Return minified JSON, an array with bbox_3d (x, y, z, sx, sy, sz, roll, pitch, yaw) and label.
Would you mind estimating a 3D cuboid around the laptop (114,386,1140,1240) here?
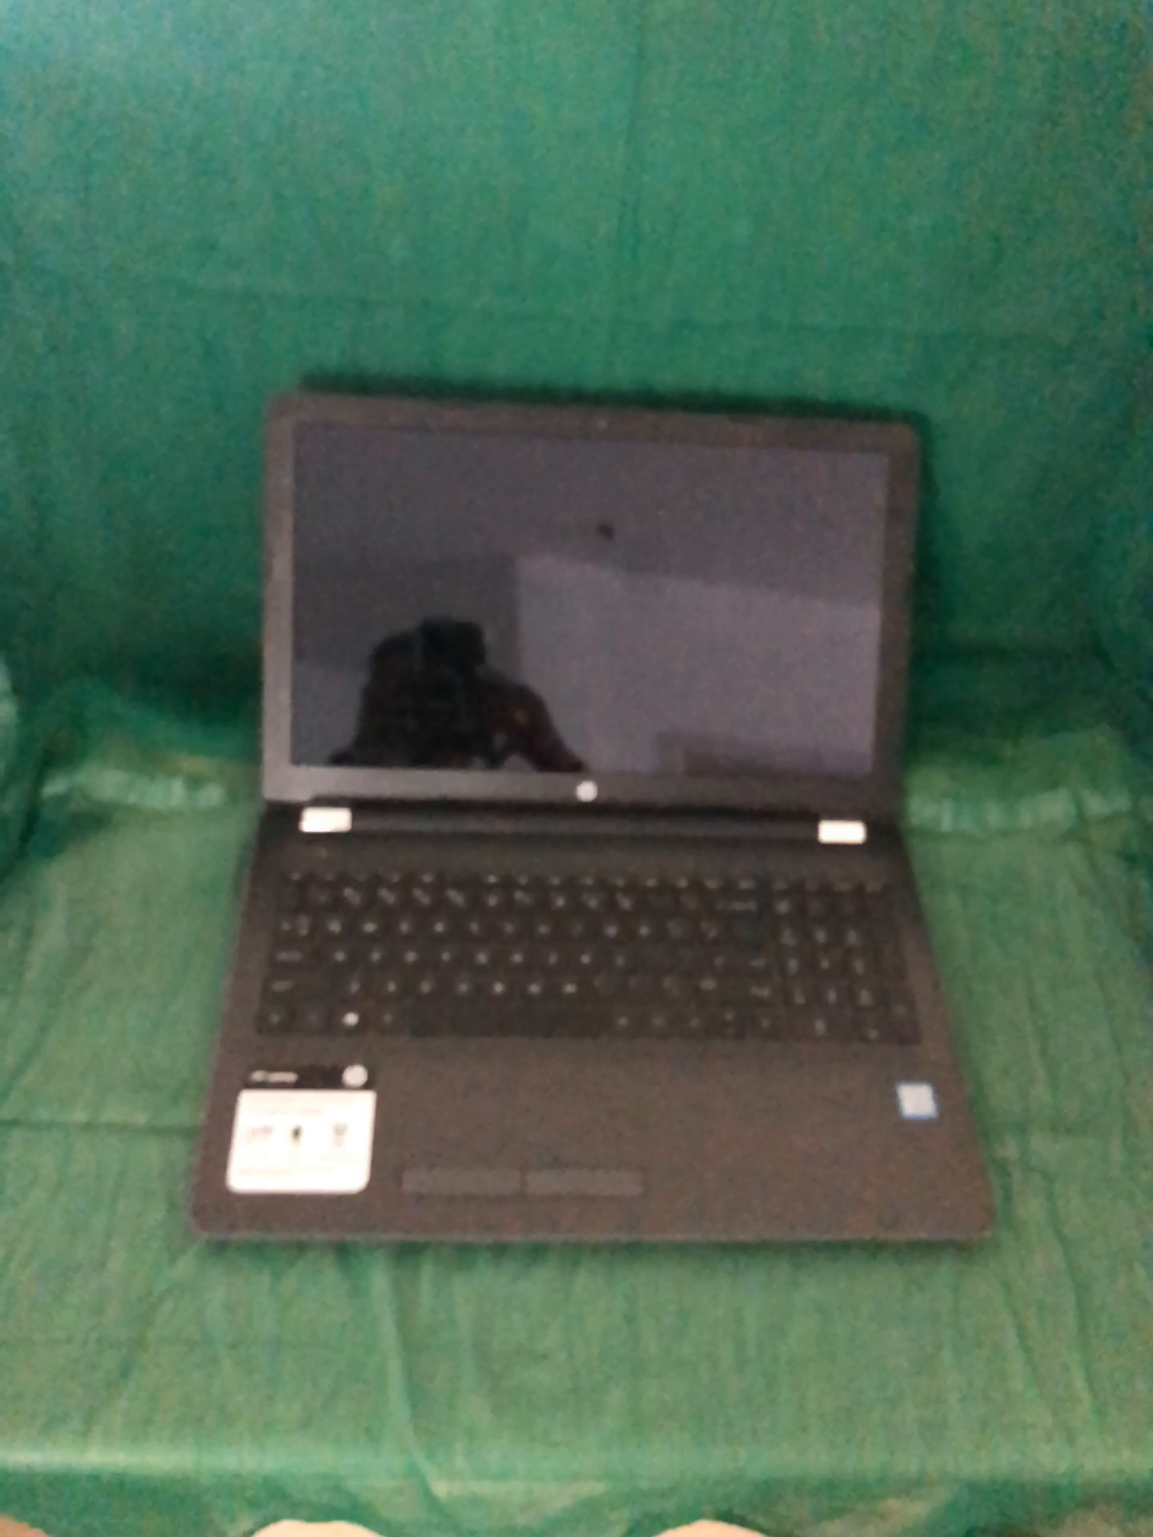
[{"bbox_3d":[0.015,0.002,0.676,0.378,0.179,0.417,2,48,-4],"label":"laptop"}]
